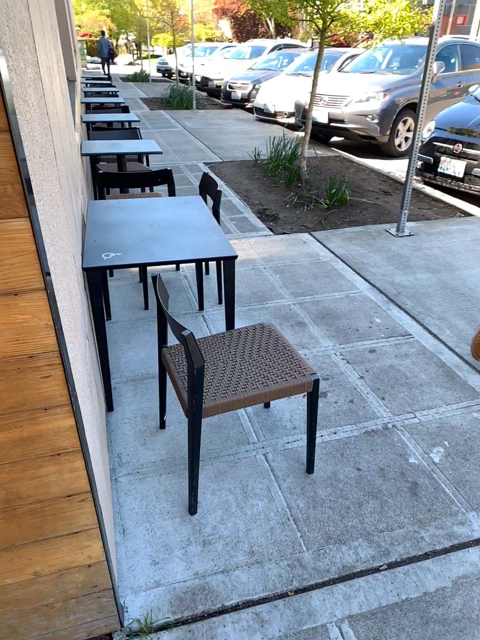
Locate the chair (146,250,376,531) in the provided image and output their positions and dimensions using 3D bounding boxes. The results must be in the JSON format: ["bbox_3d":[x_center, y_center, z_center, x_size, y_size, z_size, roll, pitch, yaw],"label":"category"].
[{"bbox_3d":[0.029,0.209,1.699,0.550,0.666,0.553,-10,34,-17],"label":"chair"}]
